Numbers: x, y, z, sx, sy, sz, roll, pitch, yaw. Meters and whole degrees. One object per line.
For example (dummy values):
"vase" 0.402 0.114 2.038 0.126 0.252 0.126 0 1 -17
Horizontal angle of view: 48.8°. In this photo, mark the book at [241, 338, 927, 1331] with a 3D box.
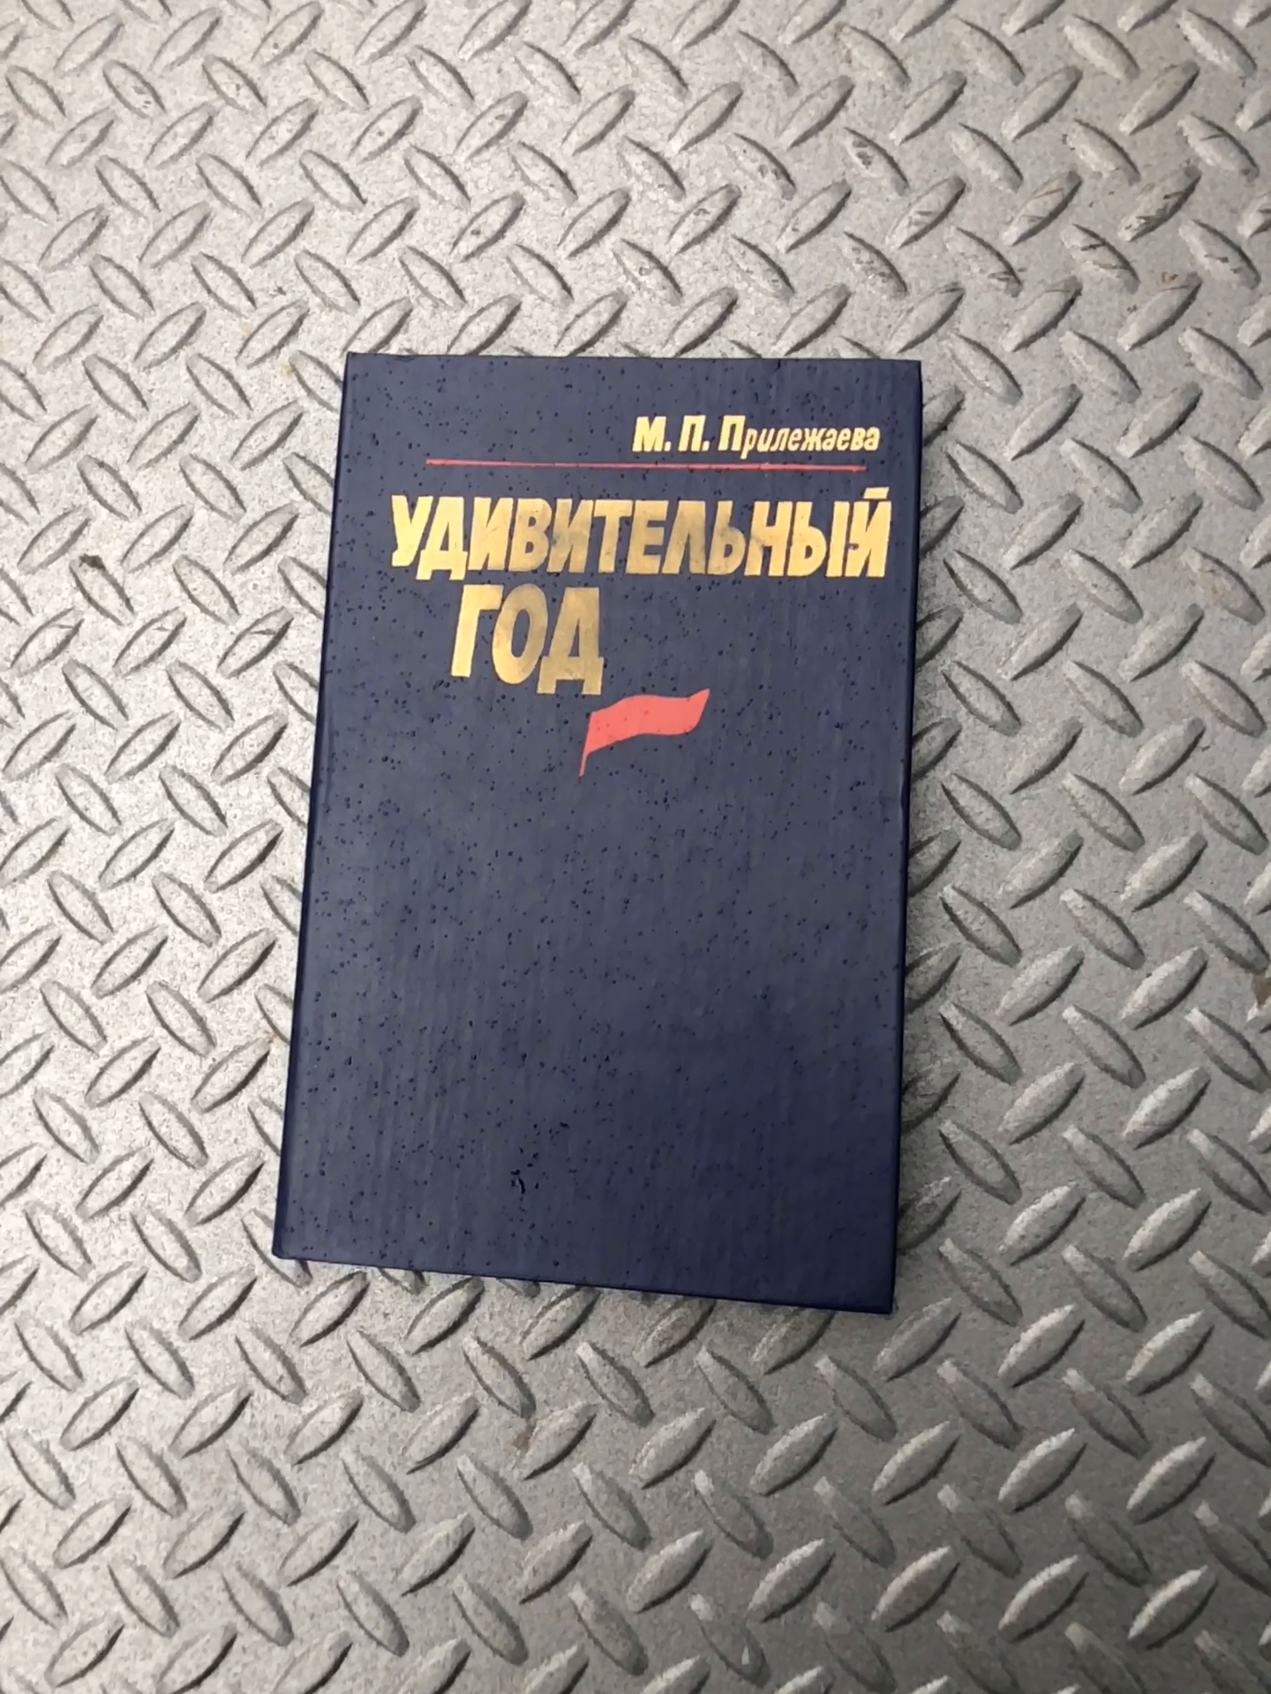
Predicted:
"book" -0.008 -0.006 0.310 0.130 0.040 0.200 3 85 6
